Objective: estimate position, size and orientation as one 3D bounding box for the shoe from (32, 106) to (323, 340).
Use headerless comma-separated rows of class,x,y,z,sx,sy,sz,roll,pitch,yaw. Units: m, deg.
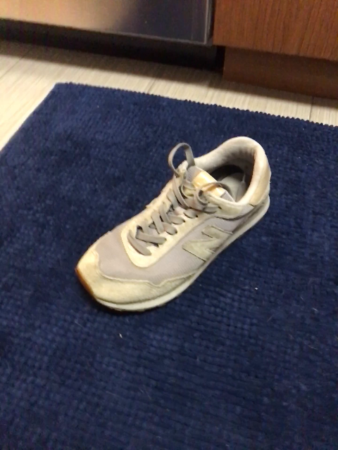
shoe,0.015,-0.016,0.423,0.281,0.099,0.130,-28,56,-20
